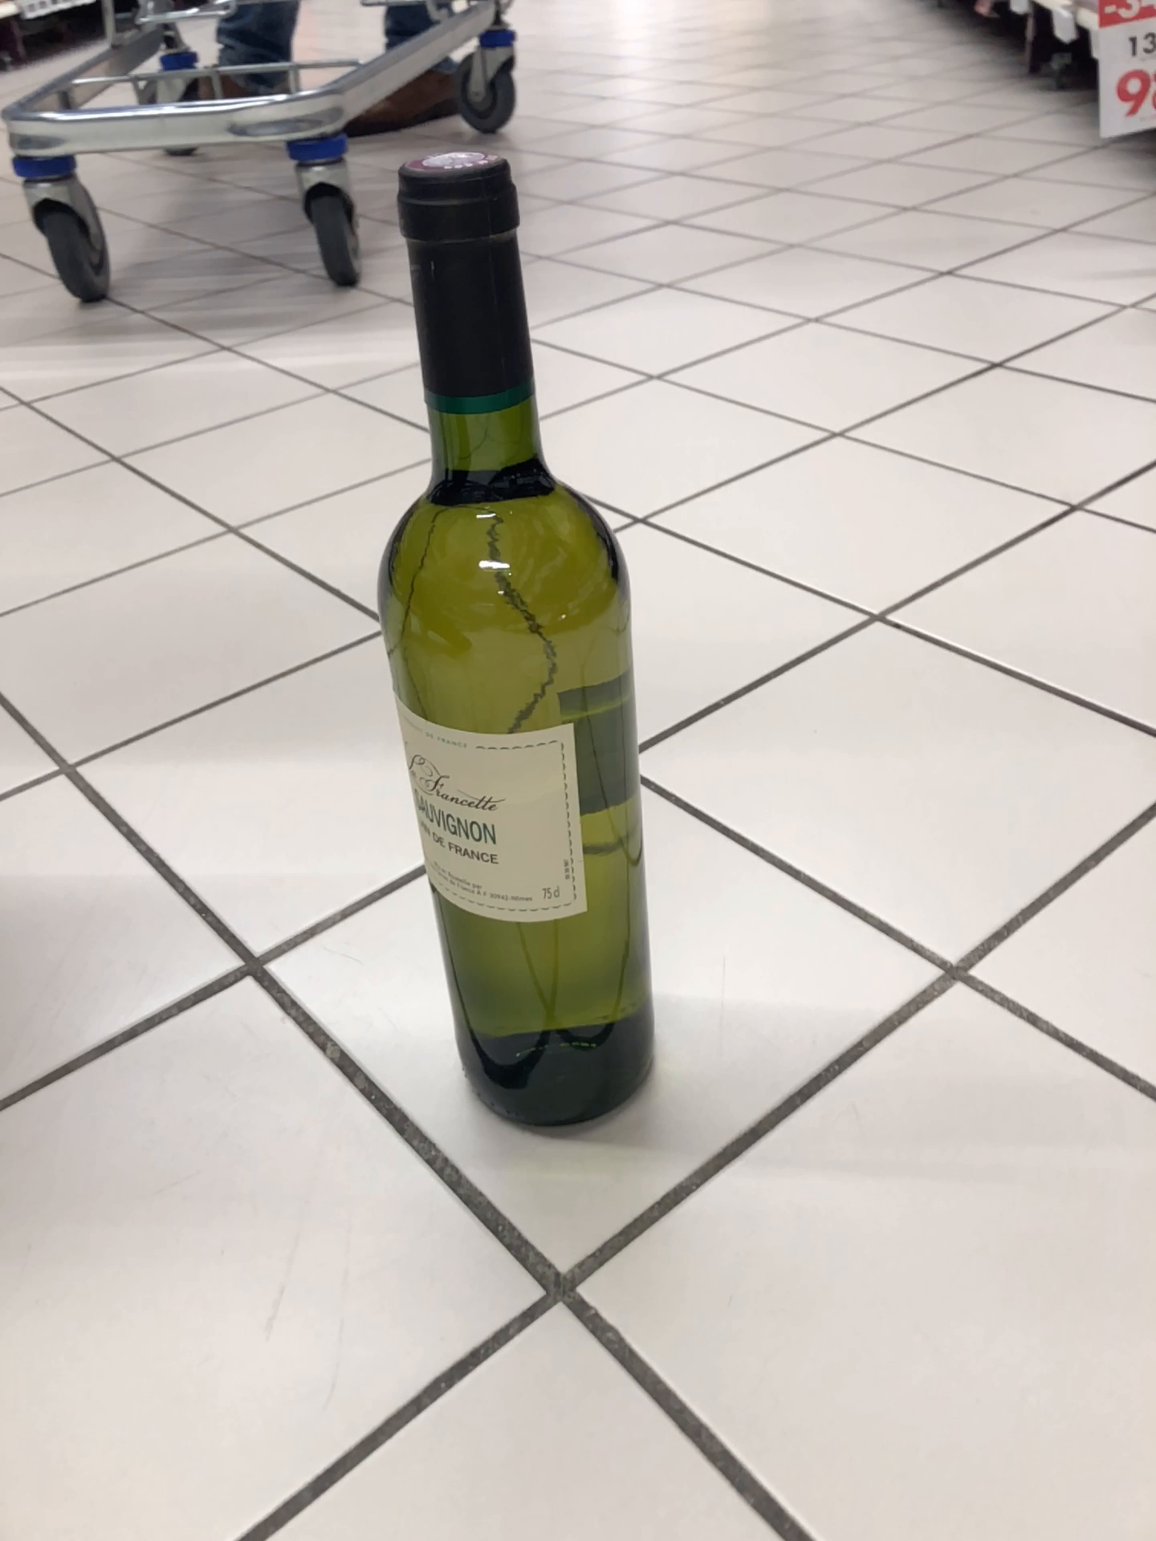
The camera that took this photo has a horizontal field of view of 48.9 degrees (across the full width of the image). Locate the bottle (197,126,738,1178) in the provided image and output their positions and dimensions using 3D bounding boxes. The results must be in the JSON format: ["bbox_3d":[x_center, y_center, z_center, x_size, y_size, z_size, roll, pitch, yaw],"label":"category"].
[{"bbox_3d":[-0.016,-0.023,0.381,0.090,0.288,0.090,-3,35,2],"label":"bottle"}]
